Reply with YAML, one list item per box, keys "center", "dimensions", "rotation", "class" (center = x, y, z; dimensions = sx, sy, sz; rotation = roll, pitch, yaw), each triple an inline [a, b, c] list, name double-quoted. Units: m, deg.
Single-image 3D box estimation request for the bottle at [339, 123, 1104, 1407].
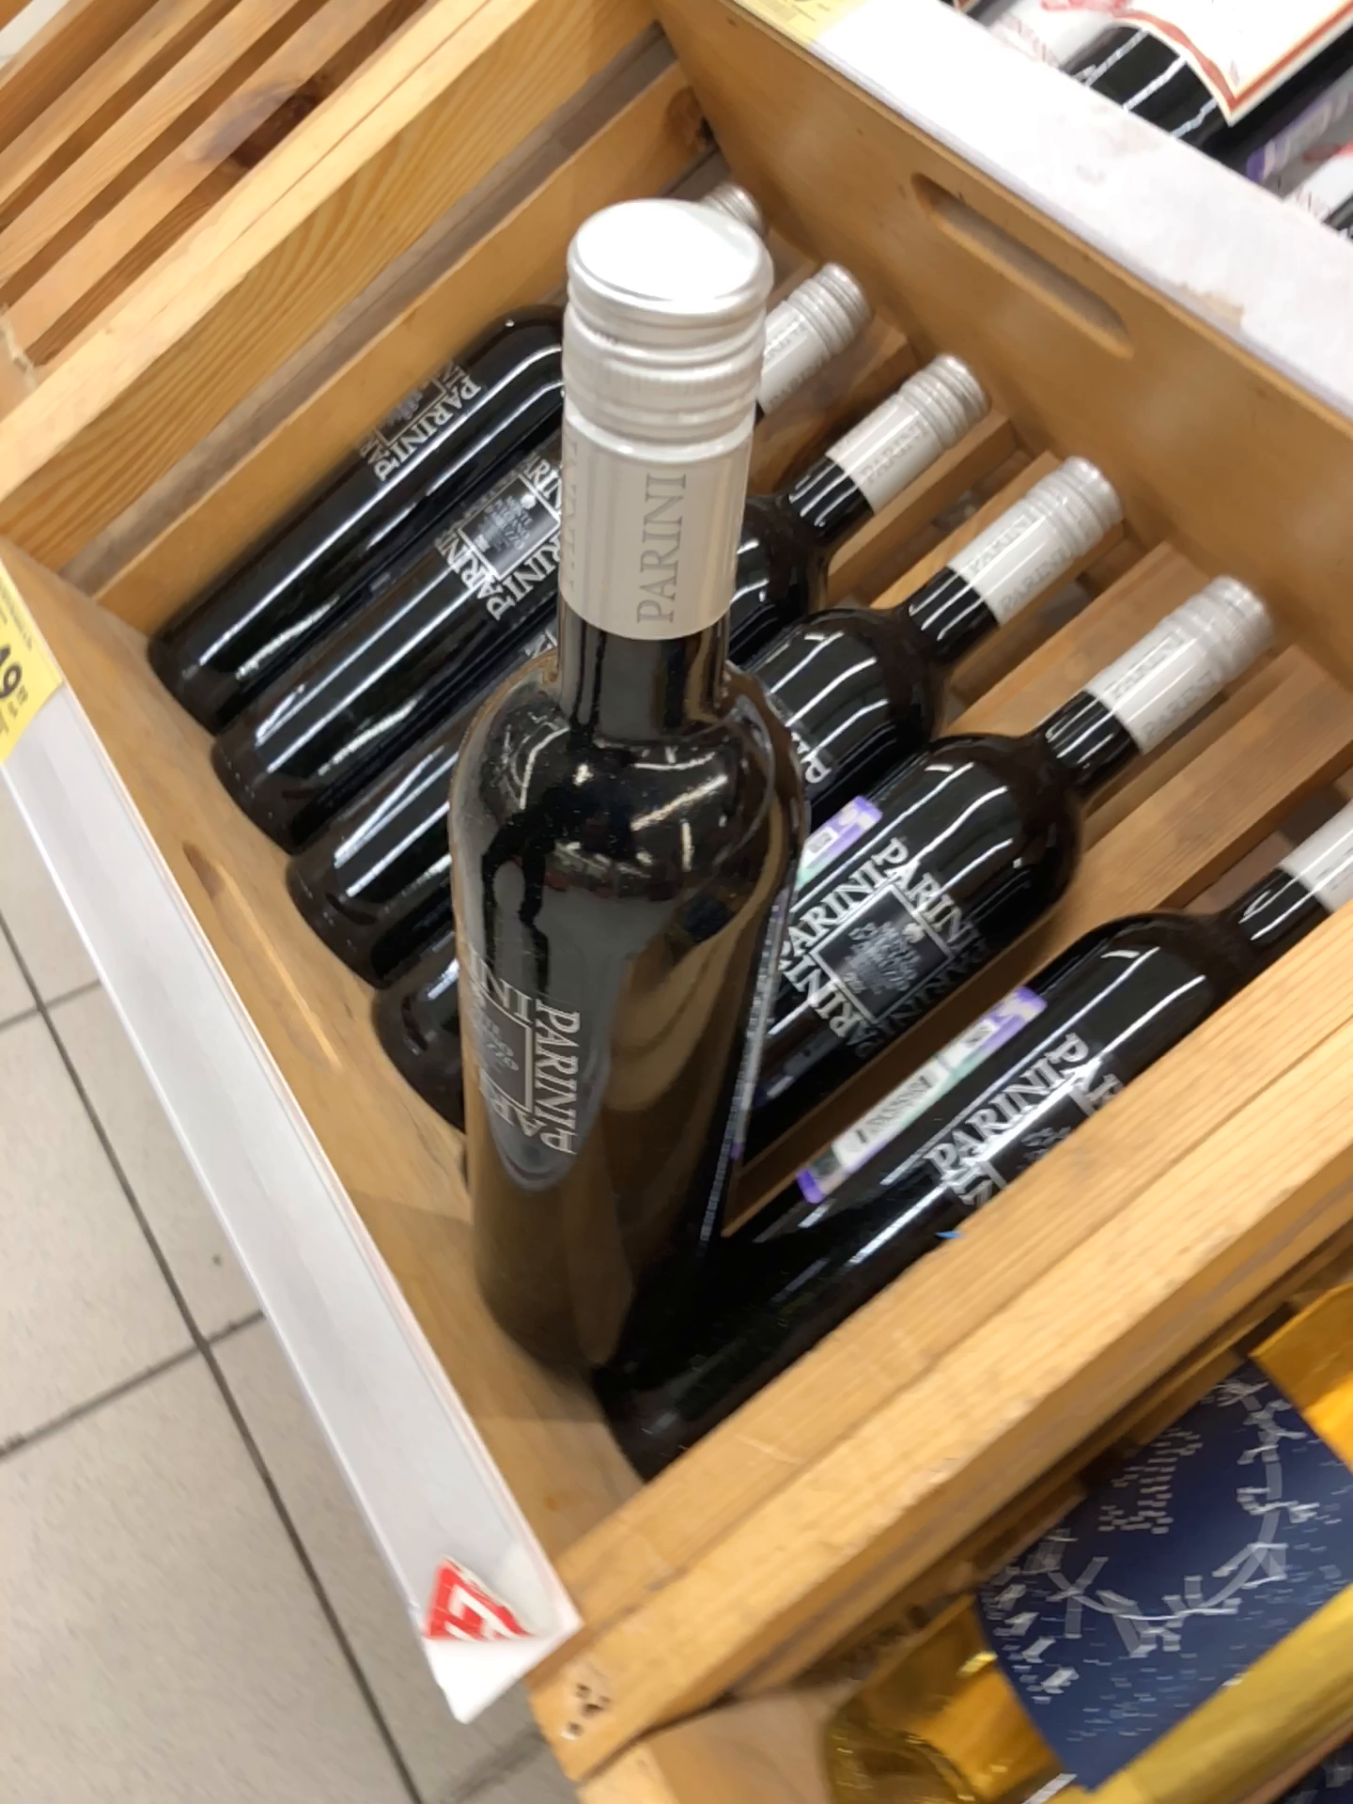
- center: [-0.012, 0.000, 0.319]
  dimensions: [0.080, 0.279, 0.090]
  rotation: [-15, 54, -19]
  class: "bottle"
